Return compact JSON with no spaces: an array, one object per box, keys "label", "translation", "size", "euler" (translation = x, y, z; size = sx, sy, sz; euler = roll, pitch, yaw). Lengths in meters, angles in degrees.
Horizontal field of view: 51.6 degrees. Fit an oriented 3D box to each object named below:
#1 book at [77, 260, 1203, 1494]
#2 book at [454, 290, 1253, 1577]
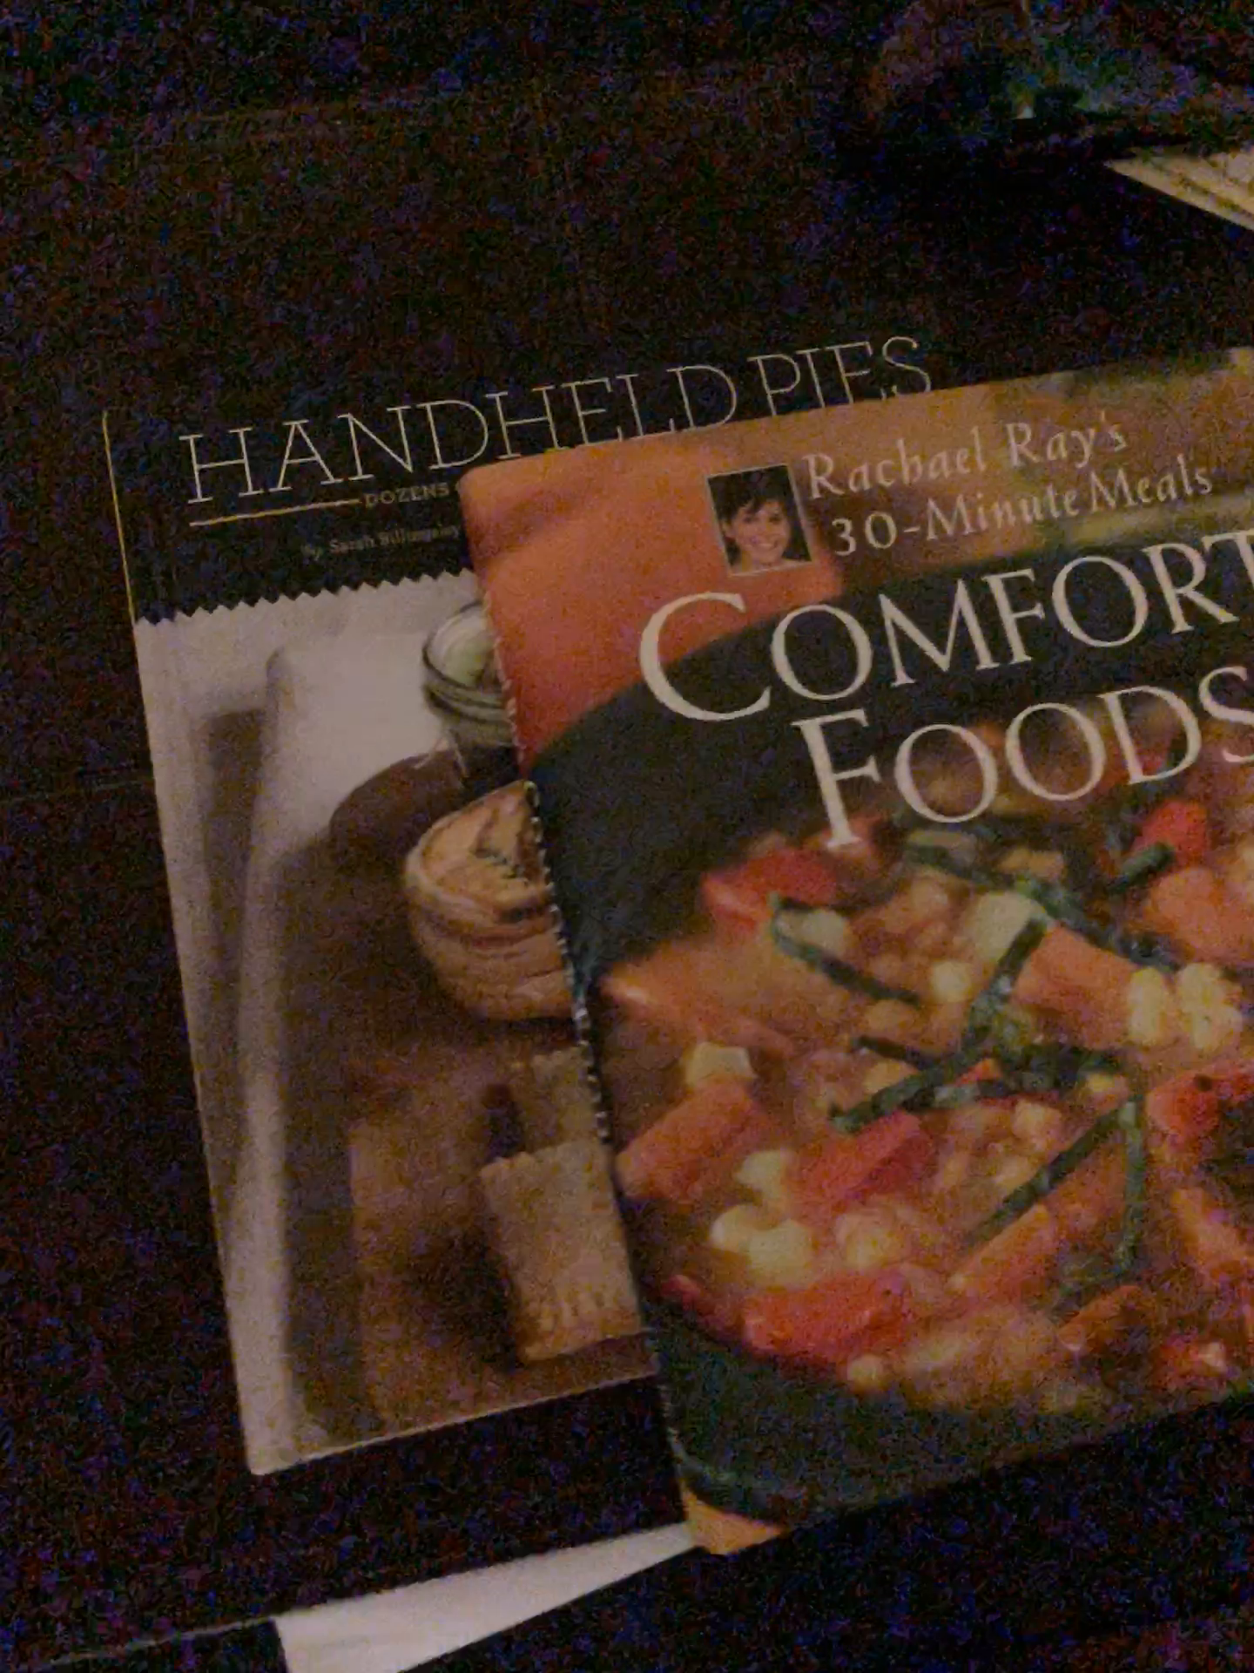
[{"label":"book","translation":[-0.005,-0.008,0.267],"size":[0.180,0.020,0.220],"euler":[-11,76,-8]},{"label":"book","translation":[0.086,0.002,0.255],"size":[0.200,0.020,0.210],"euler":[-11,76,-8]}]
